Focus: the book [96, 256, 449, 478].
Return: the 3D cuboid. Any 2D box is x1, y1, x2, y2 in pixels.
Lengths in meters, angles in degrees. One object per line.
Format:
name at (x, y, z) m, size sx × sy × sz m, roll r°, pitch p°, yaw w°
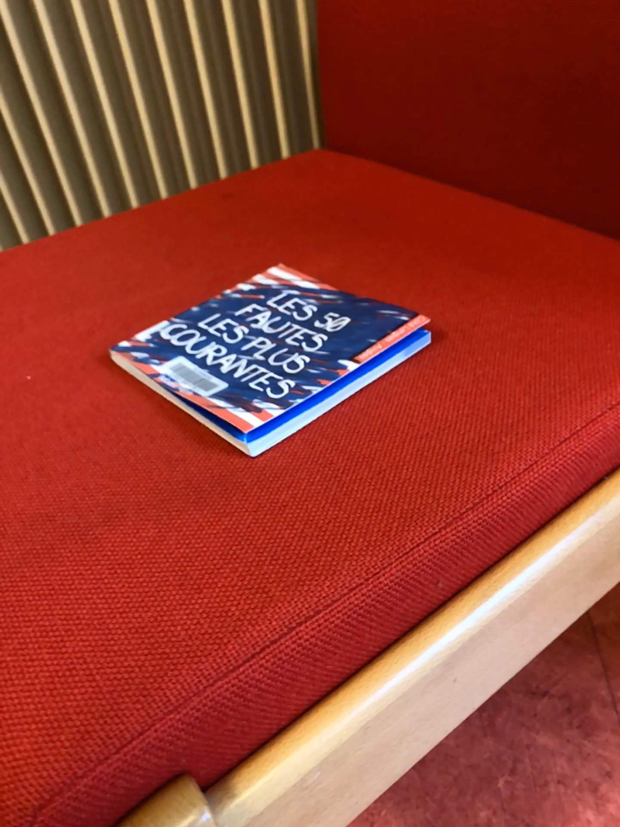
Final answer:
book at (-0.023, -0.040, 0.411) m, size 0.149 × 0.020 × 0.148 m, roll -31°, pitch 44°, yaw -31°
